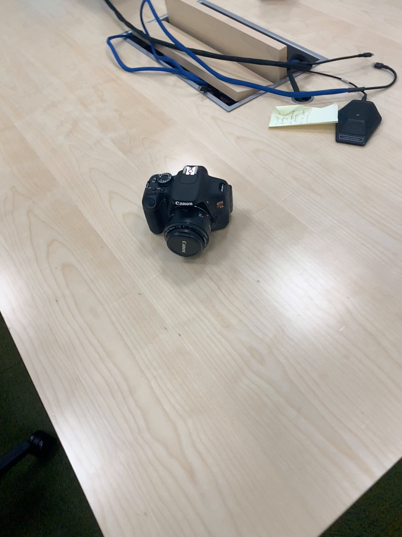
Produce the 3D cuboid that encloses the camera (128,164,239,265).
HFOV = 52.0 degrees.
[{"bbox_3d":[-0.019,-0.085,0.637,0.140,0.080,0.131,4,54,10],"label":"camera"}]
